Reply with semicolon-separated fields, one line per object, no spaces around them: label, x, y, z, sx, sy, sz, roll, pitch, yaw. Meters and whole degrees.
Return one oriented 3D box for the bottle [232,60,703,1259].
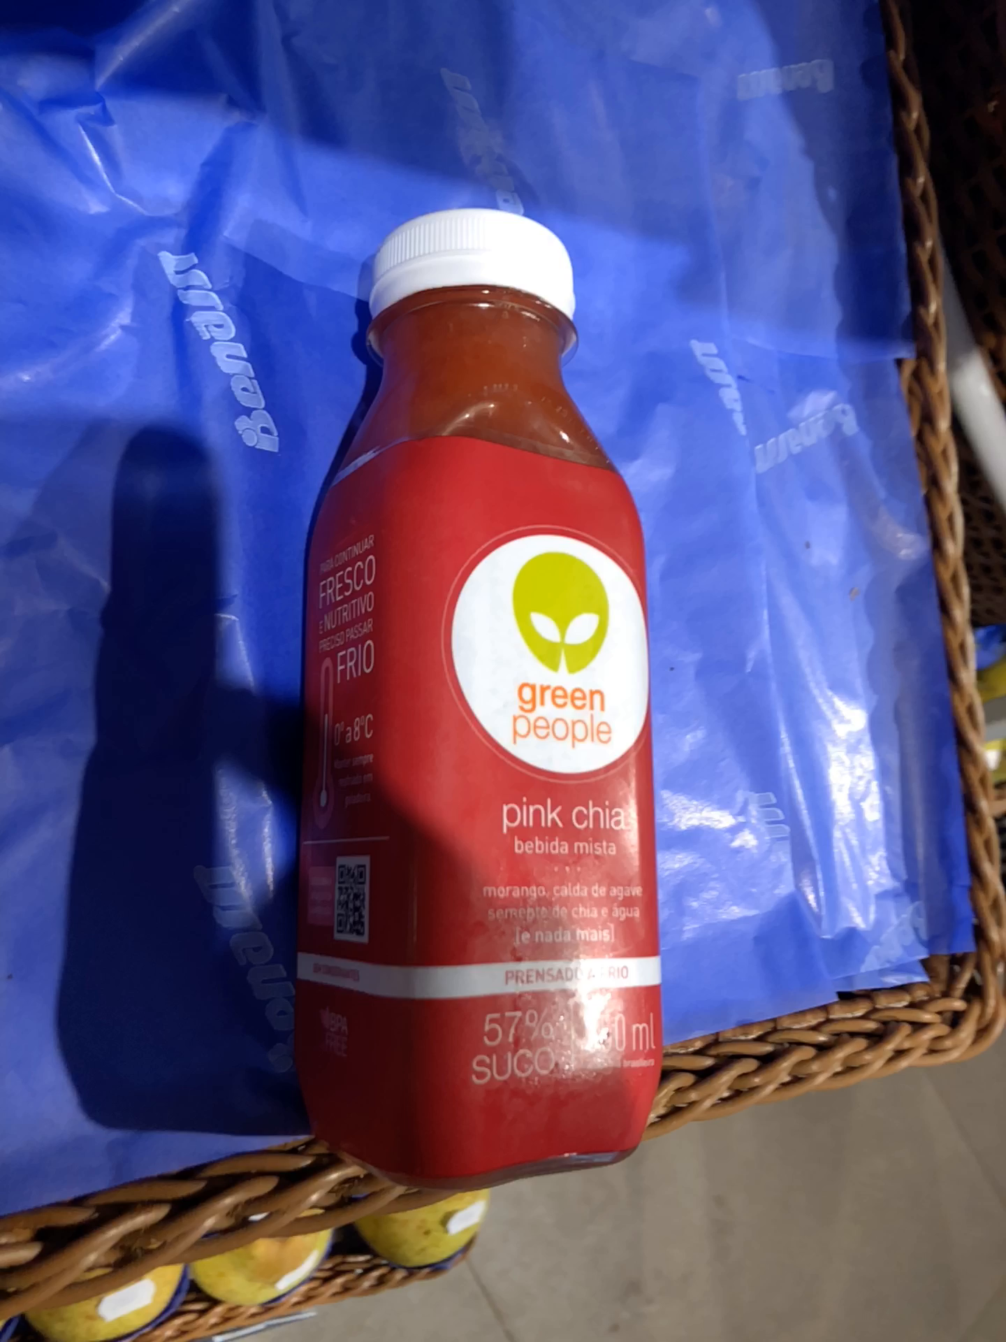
bottle;-0.007;-0.004;0.213;0.060;0.060;0.190;7;76;-28
